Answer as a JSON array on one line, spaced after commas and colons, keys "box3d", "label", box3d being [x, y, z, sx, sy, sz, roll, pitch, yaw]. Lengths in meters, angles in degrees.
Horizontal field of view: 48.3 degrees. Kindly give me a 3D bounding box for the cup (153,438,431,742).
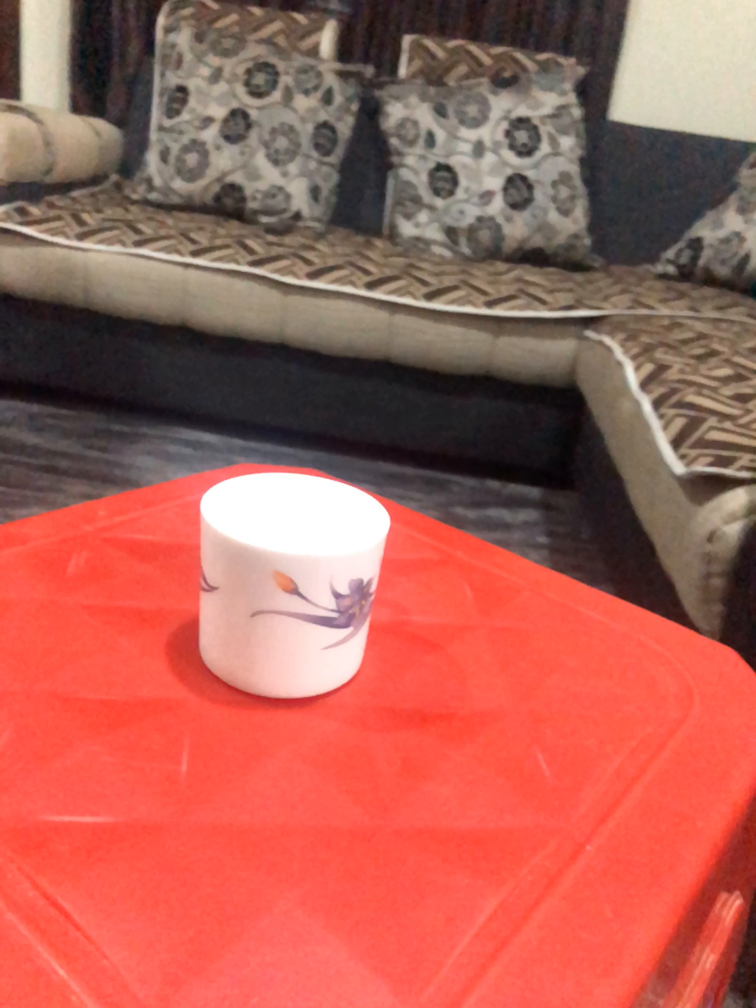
[{"box3d": [-0.026, 0.024, 0.301, 0.070, 0.060, 0.090, 12, 23, 7], "label": "cup"}]
